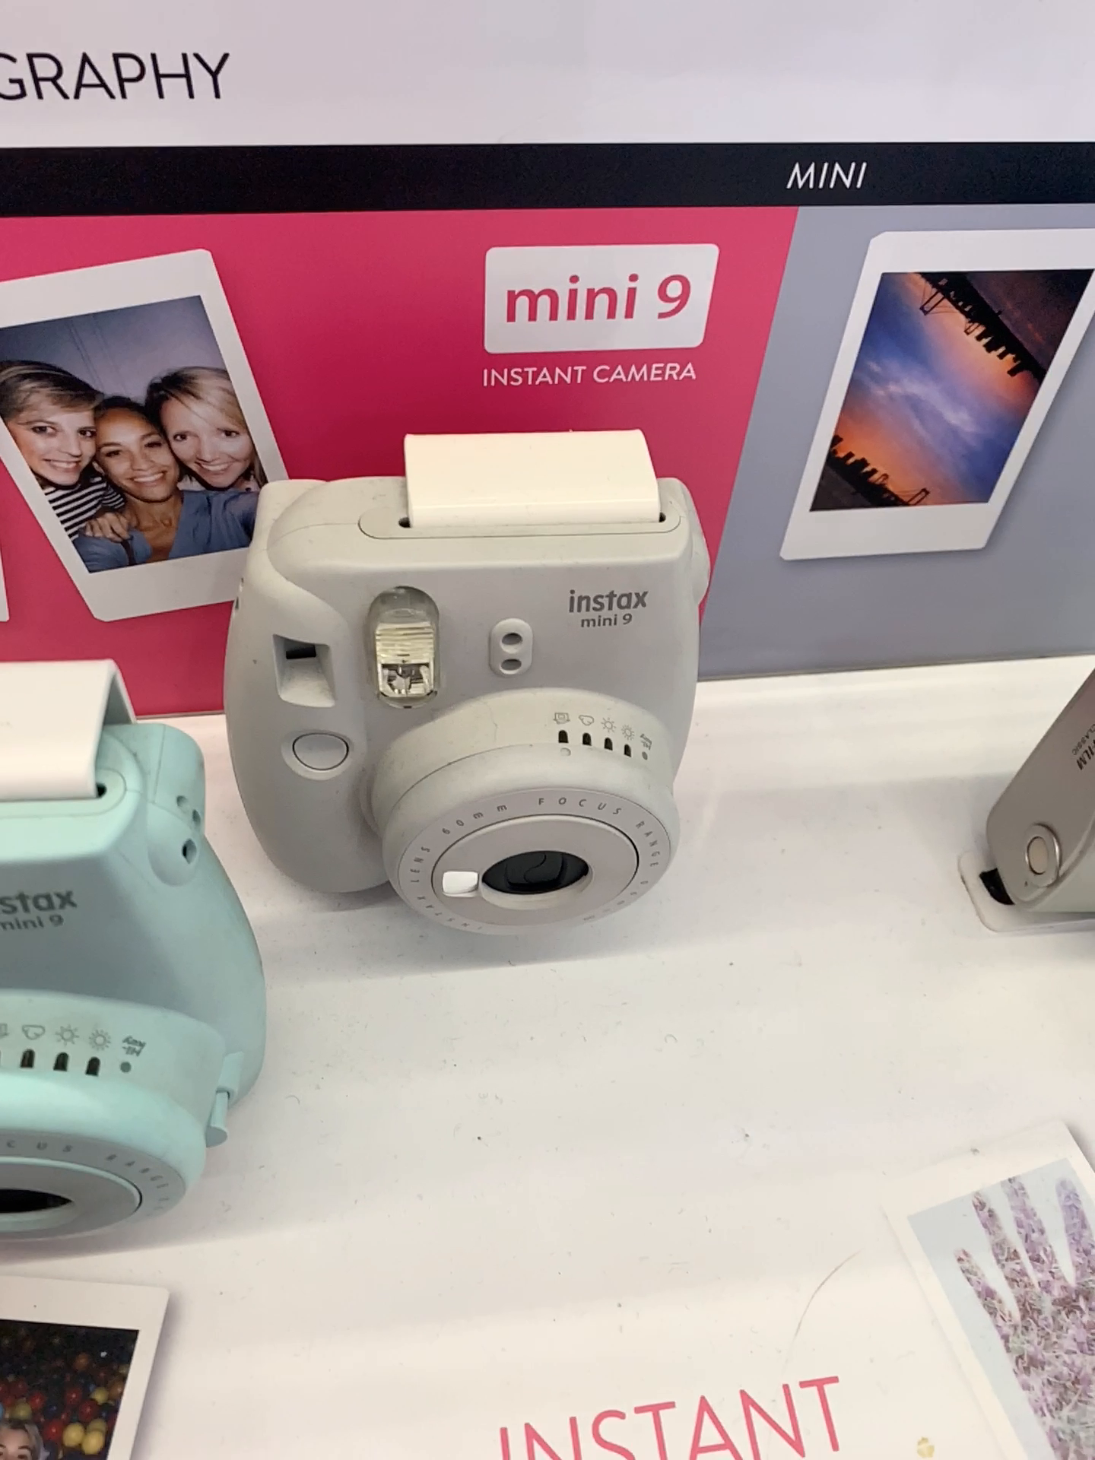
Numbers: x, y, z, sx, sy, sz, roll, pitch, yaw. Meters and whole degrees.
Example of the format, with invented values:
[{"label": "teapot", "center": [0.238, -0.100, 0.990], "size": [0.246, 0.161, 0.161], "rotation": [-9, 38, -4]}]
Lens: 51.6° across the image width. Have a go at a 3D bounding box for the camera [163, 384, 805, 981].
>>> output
[{"label": "camera", "center": [-0.017, -0.008, 0.261], "size": [0.110, 0.109, 0.081], "rotation": [-3, 51, -7]}]
